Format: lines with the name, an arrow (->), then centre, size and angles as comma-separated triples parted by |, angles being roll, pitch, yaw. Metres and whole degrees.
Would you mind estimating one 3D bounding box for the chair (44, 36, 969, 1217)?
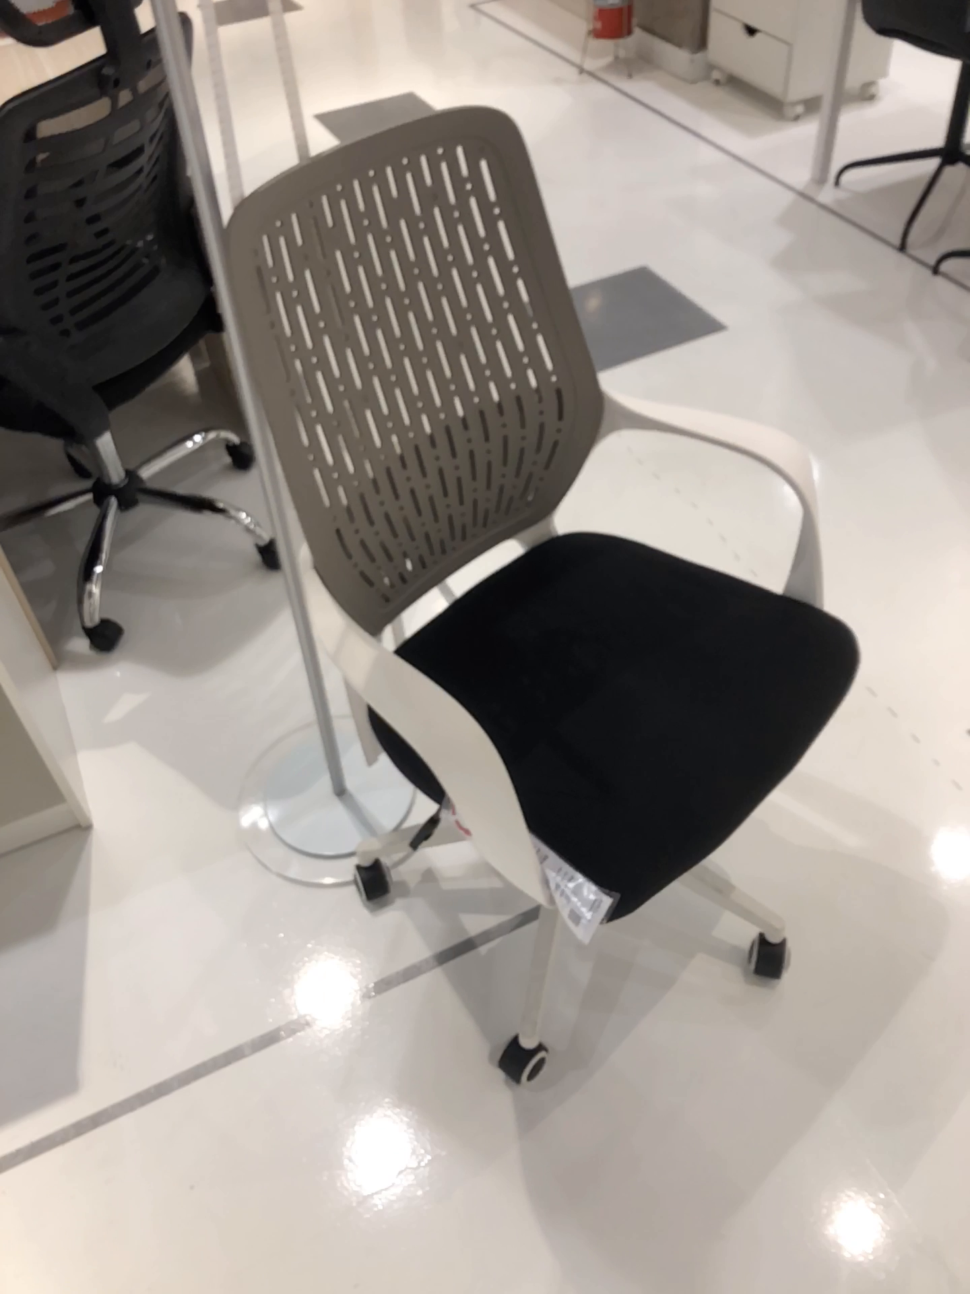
chair -> 0.126, -0.017, 1.271 | 0.692, 1.003, 0.672 | -37, 53, -28
